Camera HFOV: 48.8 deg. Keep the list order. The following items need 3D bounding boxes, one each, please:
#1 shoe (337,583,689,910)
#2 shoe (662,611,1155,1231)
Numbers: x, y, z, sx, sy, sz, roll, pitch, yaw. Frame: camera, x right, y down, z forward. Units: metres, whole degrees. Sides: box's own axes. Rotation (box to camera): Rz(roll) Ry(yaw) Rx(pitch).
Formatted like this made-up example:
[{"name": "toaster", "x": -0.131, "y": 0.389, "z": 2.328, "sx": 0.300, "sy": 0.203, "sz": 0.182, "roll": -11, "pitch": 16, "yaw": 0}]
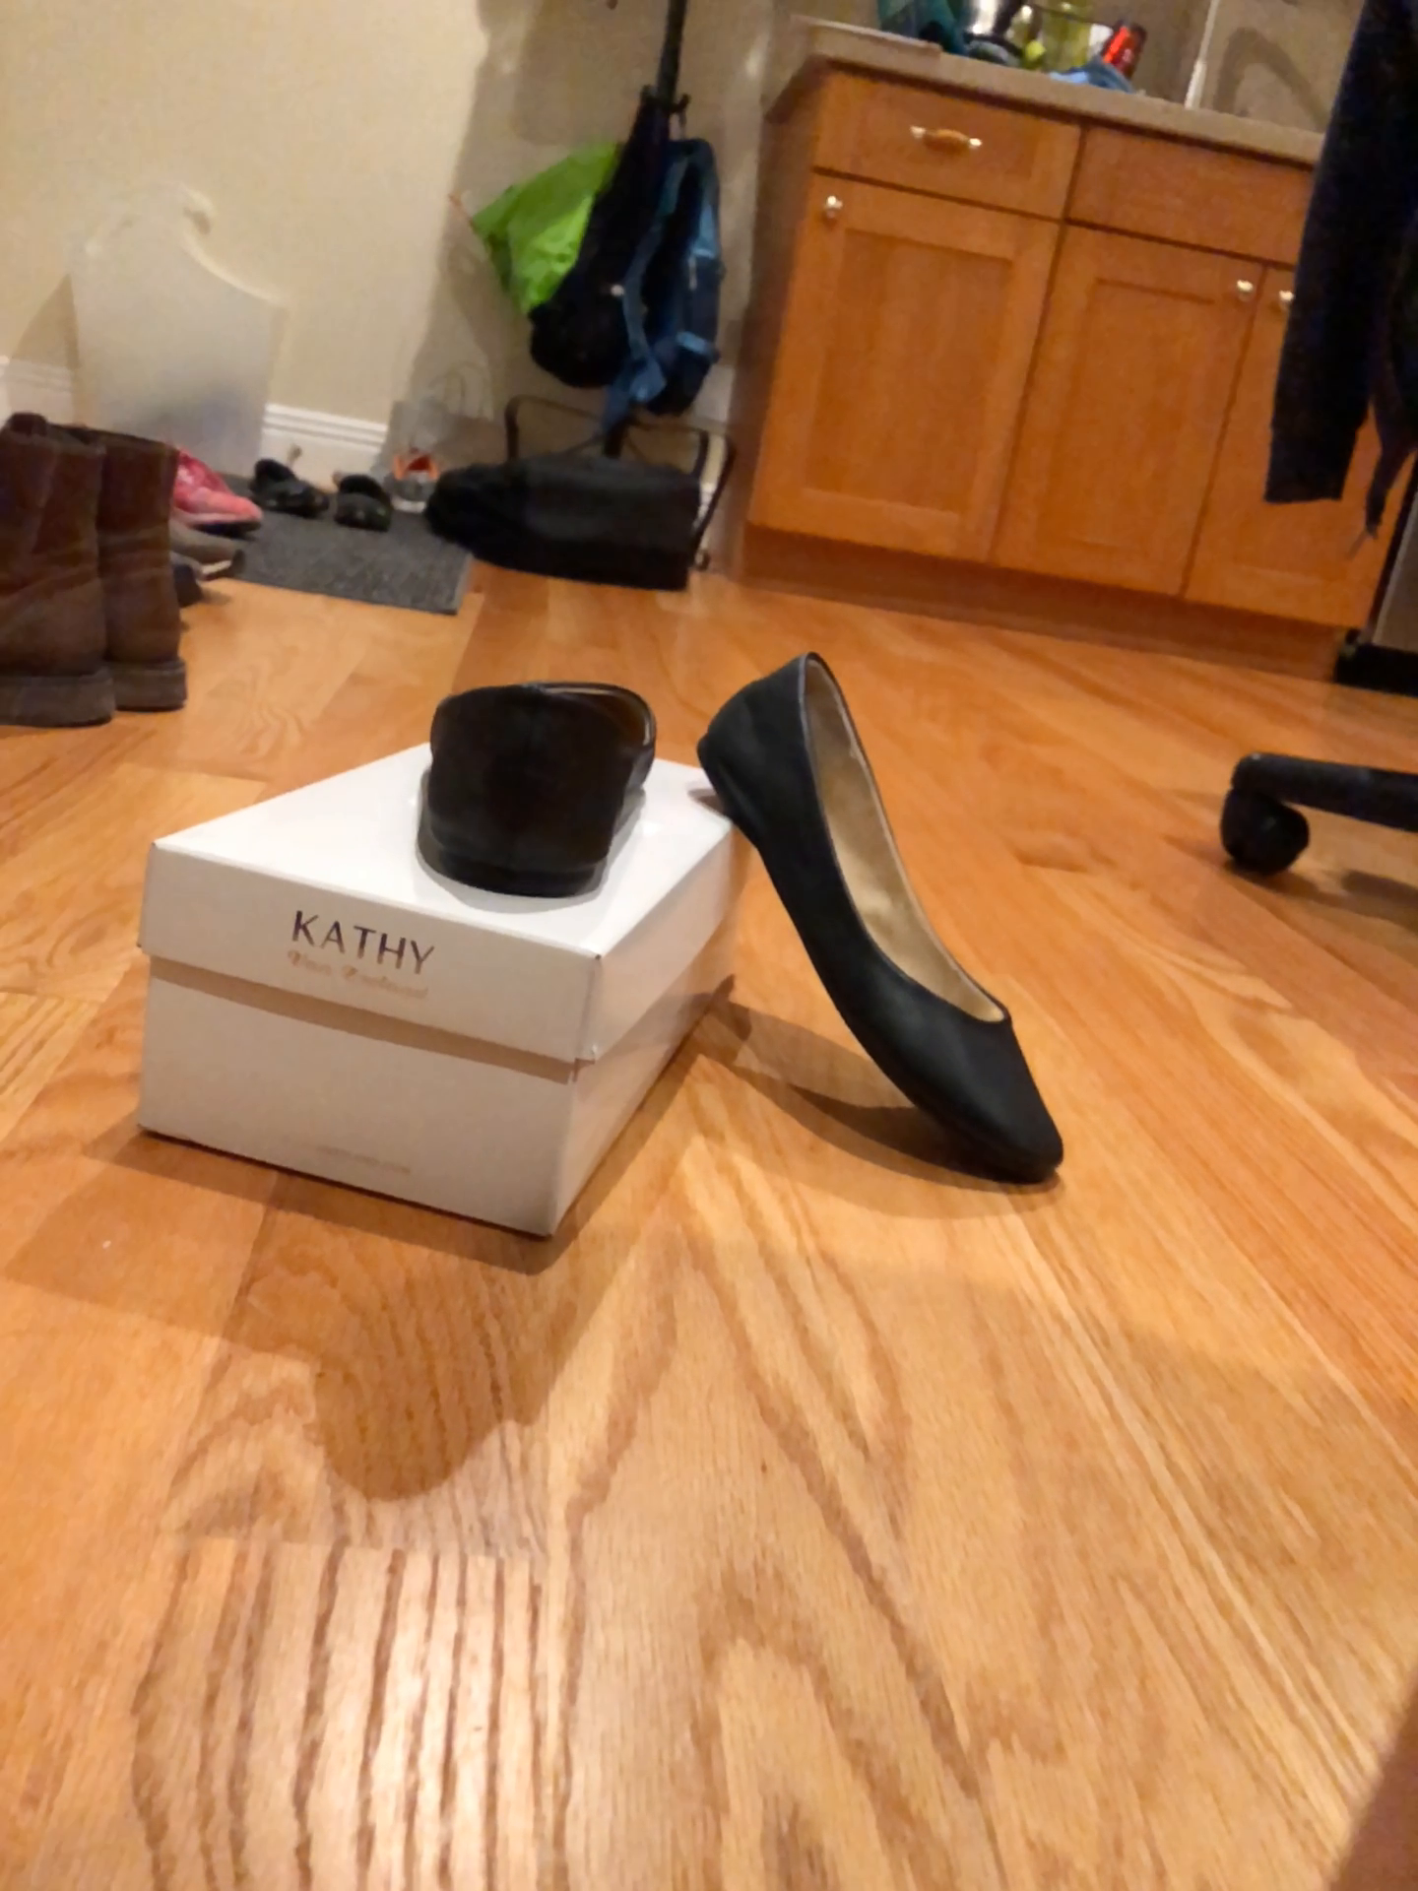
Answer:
[{"name": "shoe", "x": -0.057, "y": -0.081, "z": 0.552, "sx": 0.076, "sy": 0.060, "sz": 0.240, "roll": 10, "pitch": 18, "yaw": 0}, {"name": "shoe", "x": 0.073, "y": -0.012, "z": 0.609, "sx": 0.076, "sy": 0.060, "sz": 0.240, "roll": 11, "pitch": 46, "yaw": -55}]
